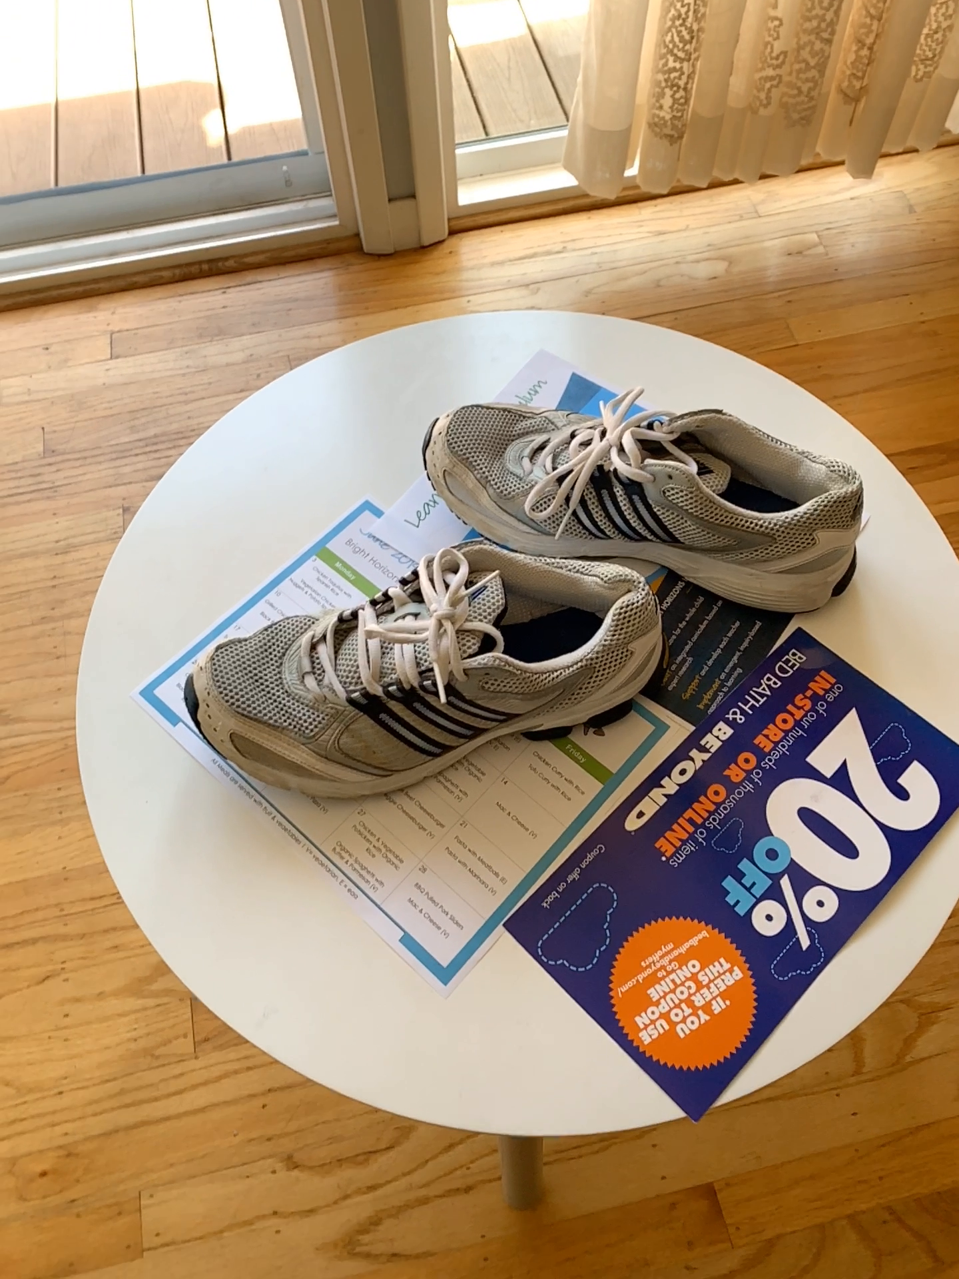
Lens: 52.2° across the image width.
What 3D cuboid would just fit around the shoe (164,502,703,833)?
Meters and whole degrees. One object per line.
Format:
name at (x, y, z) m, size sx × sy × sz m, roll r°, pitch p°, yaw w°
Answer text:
shoe at (-0.029, 0.016, 0.573) m, size 0.280 × 0.080 × 0.120 m, roll -11°, pitch 61°, yaw -4°

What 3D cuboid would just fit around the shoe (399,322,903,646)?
shoe at (0.103, -0.102, 0.621) m, size 0.280 × 0.080 × 0.110 m, roll 17°, pitch 63°, yaw 11°
